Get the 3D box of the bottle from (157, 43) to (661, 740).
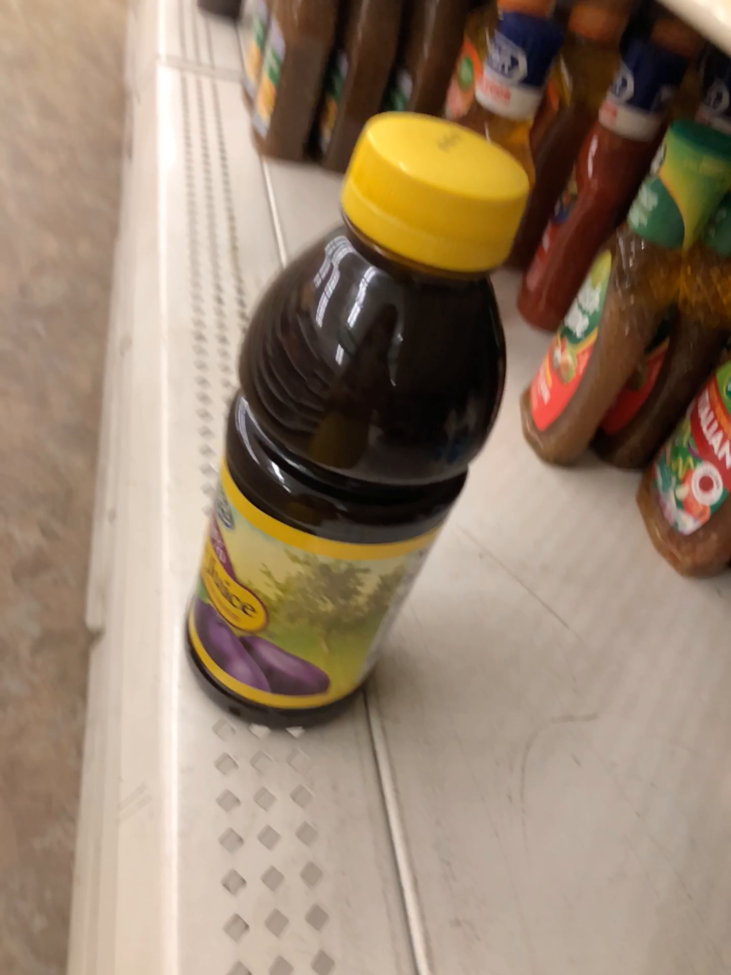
[{"bbox_3d":[-0.010,-0.010,0.236,0.080,0.181,0.080,11,43,-10],"label":"bottle"}]
